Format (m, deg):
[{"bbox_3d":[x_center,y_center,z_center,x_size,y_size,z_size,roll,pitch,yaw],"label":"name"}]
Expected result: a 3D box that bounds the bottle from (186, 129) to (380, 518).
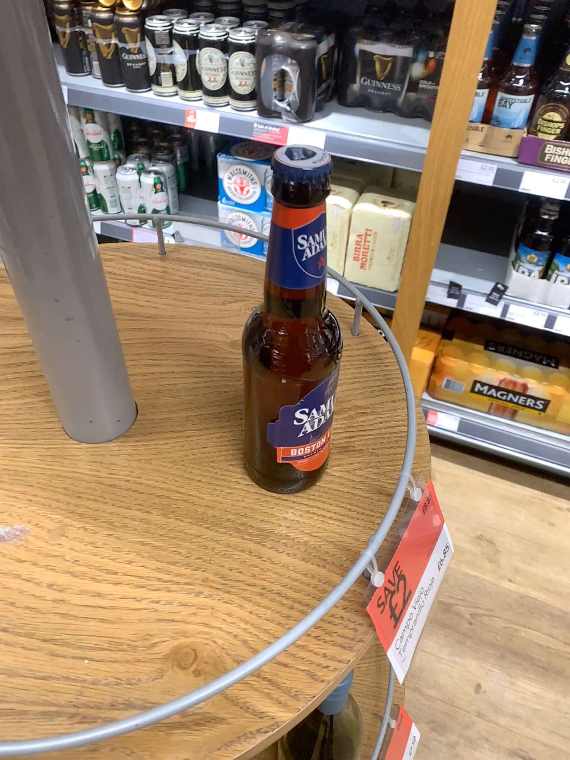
[{"bbox_3d":[-0.002,-0.018,0.330,0.061,0.211,0.063,1,44,-1],"label":"bottle"}]
